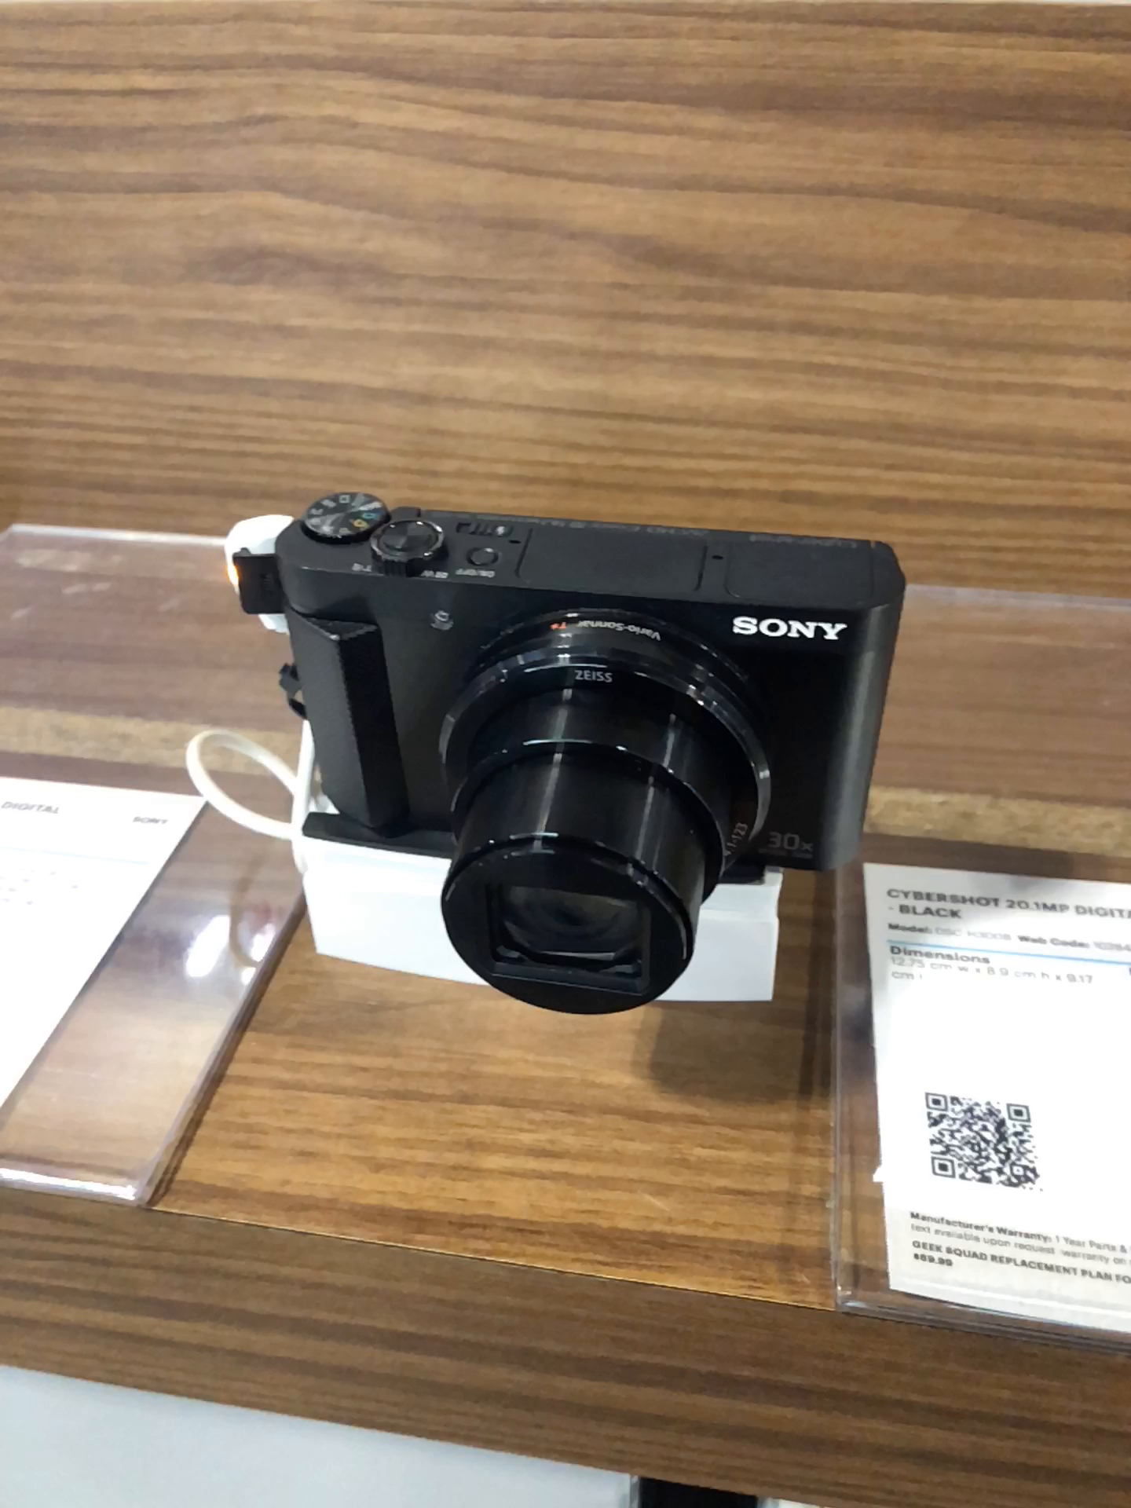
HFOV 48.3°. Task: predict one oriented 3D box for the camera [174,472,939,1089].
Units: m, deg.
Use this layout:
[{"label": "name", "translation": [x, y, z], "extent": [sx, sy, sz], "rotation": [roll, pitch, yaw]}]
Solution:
[{"label": "camera", "translation": [0.002, 0.001, 0.206], "extent": [0.100, 0.070, 0.060], "rotation": [5, 33, 9]}]
